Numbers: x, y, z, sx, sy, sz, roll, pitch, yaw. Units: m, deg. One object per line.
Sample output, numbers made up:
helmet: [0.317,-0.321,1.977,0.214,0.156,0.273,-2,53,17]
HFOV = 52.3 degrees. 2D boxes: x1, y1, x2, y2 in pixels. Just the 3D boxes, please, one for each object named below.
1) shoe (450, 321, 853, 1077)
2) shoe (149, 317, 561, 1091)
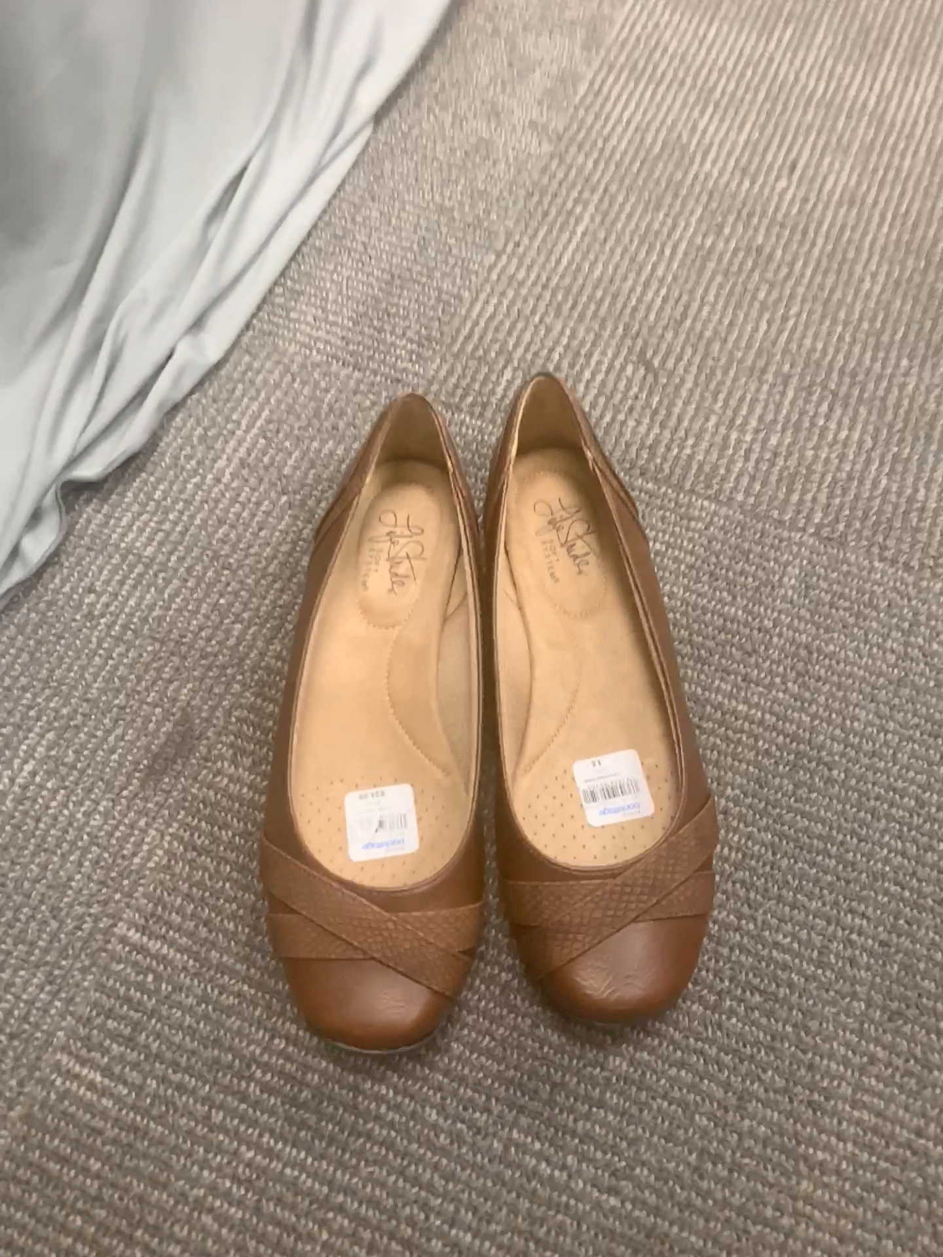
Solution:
shoe: [0.053,0.020,0.378,0.098,0.084,0.271,-5,68,-3]
shoe: [-0.031,0.021,0.371,0.099,0.084,0.269,7,68,2]
